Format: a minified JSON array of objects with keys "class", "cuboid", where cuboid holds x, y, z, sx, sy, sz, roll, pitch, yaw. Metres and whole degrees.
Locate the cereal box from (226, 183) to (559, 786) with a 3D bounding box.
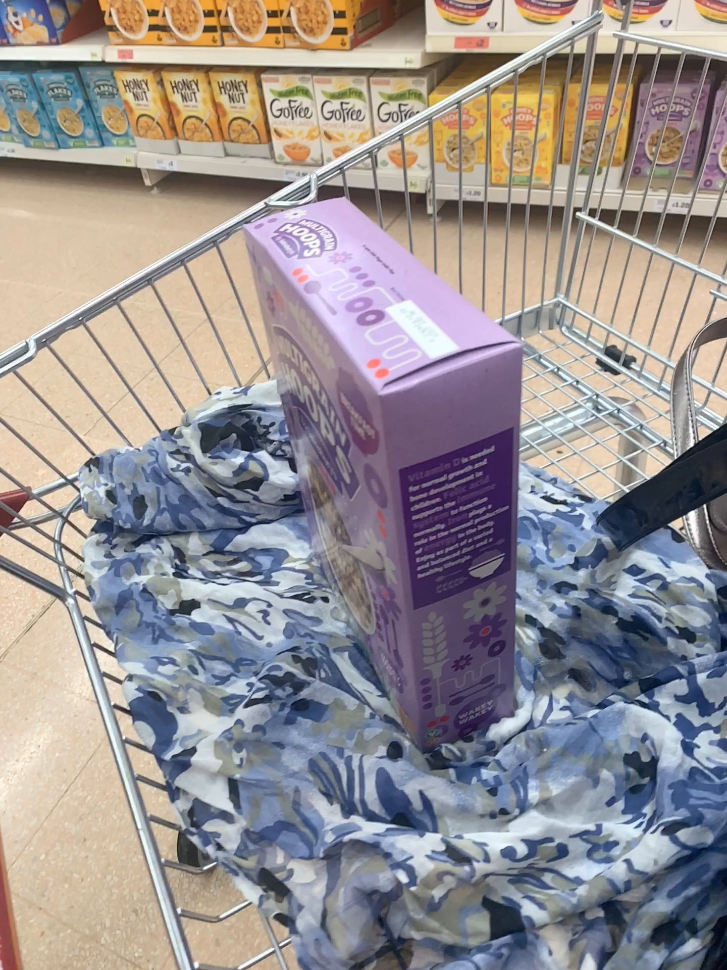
[{"class":"cereal box","cuboid":[0.012,0.001,0.427,0.070,0.267,0.212,-20,43,-14]}]
